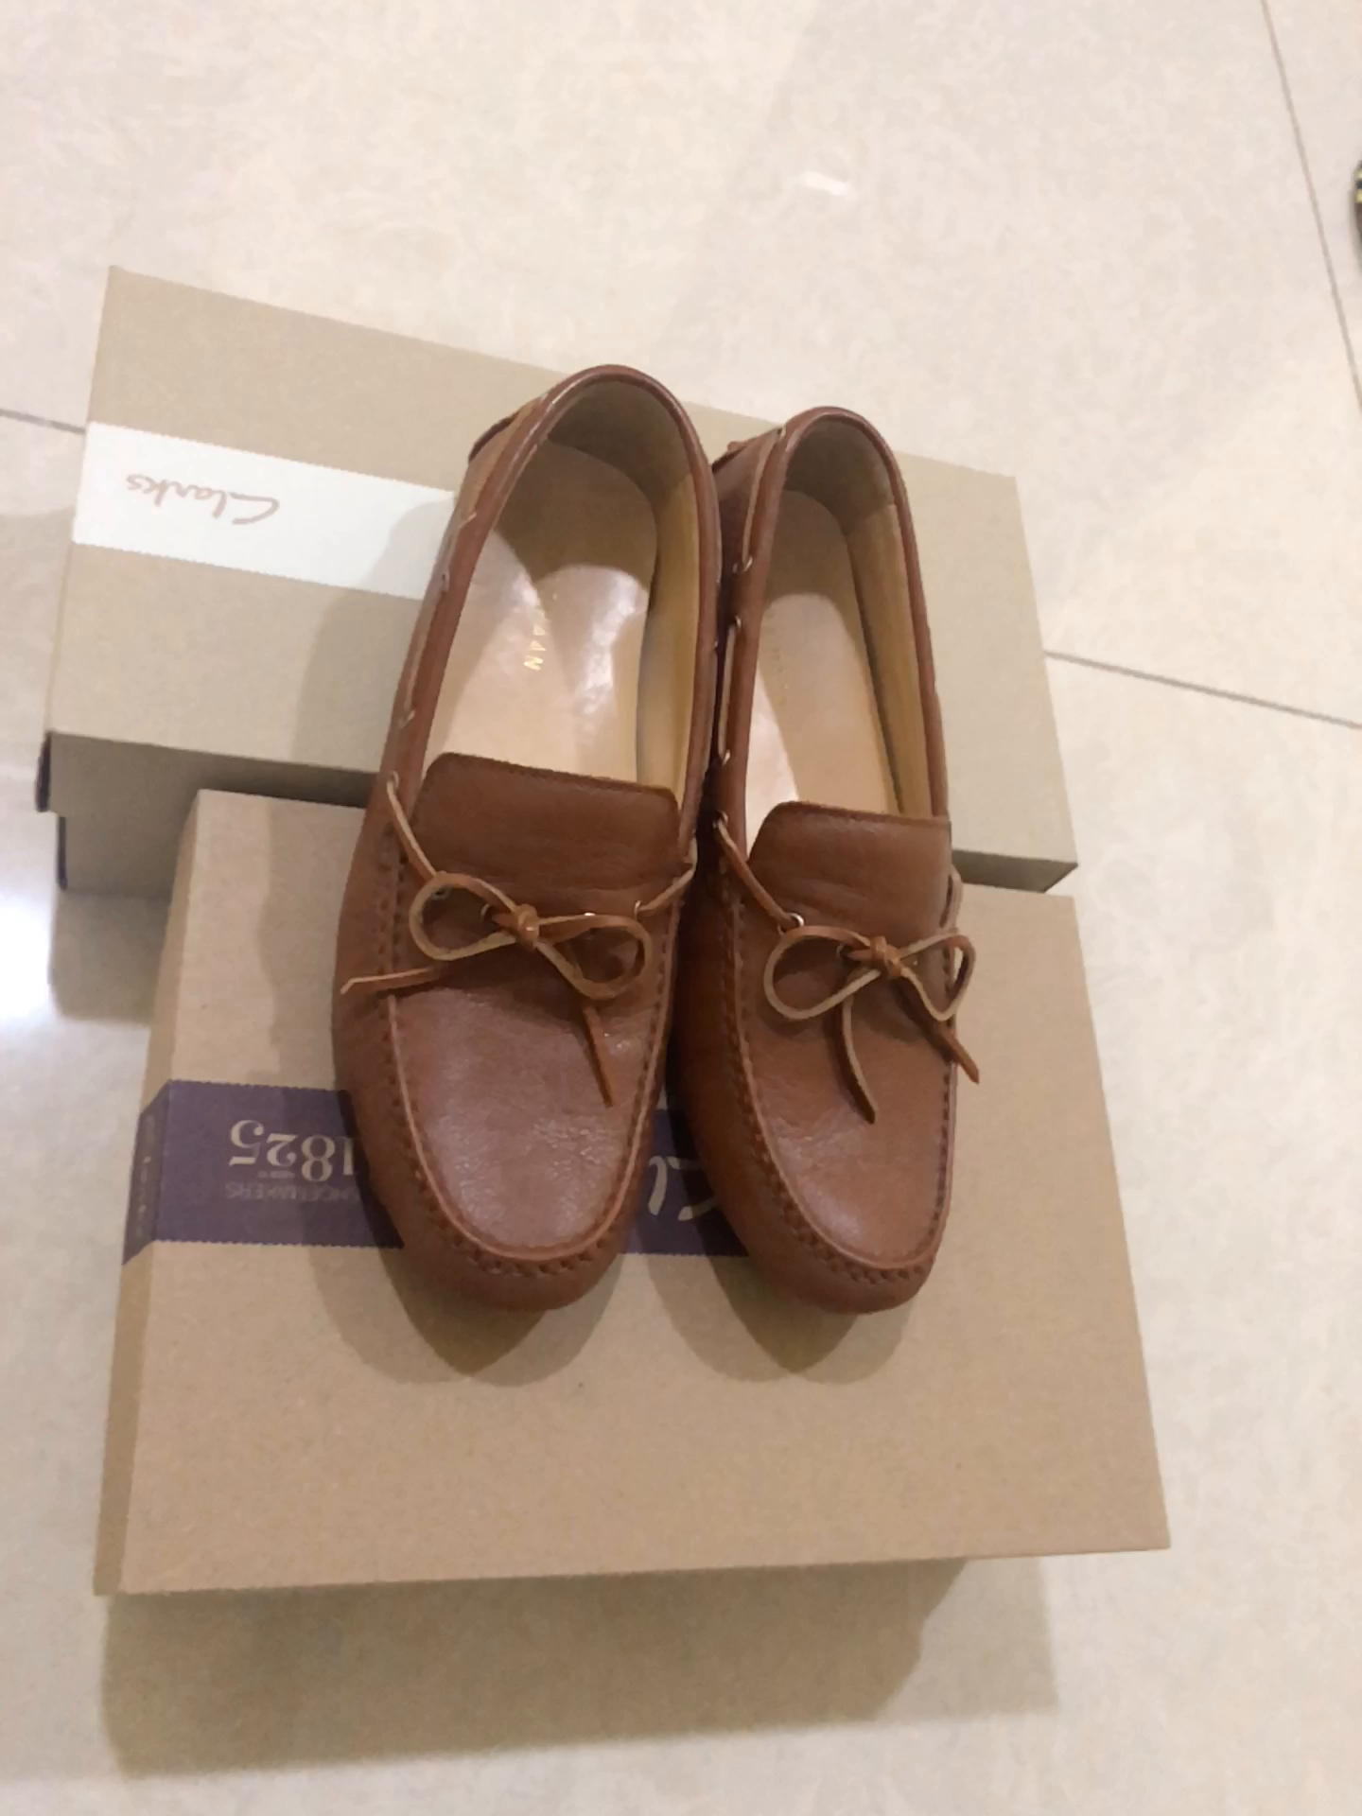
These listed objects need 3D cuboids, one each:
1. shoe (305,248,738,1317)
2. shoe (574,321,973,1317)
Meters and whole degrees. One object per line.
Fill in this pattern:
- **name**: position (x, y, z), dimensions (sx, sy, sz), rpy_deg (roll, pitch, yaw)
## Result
- **shoe**: position (-0.042, -0.034, 0.427), dimensions (0.080, 0.080, 0.280), rpy_deg (10, 70, -19)
- **shoe**: position (0.020, -0.025, 0.456), dimensions (0.080, 0.080, 0.280), rpy_deg (5, 72, -21)
